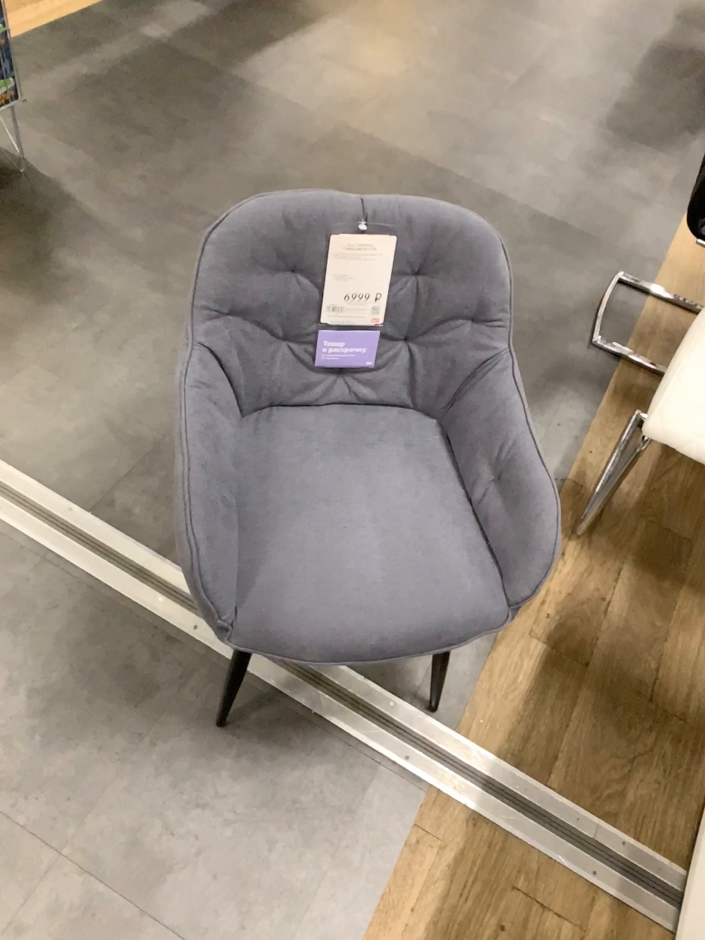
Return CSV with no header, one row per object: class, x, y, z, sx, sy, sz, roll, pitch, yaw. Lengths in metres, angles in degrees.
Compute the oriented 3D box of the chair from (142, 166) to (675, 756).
chair,-0.021,0.041,1.212,0.560,0.777,0.592,0,54,-12
